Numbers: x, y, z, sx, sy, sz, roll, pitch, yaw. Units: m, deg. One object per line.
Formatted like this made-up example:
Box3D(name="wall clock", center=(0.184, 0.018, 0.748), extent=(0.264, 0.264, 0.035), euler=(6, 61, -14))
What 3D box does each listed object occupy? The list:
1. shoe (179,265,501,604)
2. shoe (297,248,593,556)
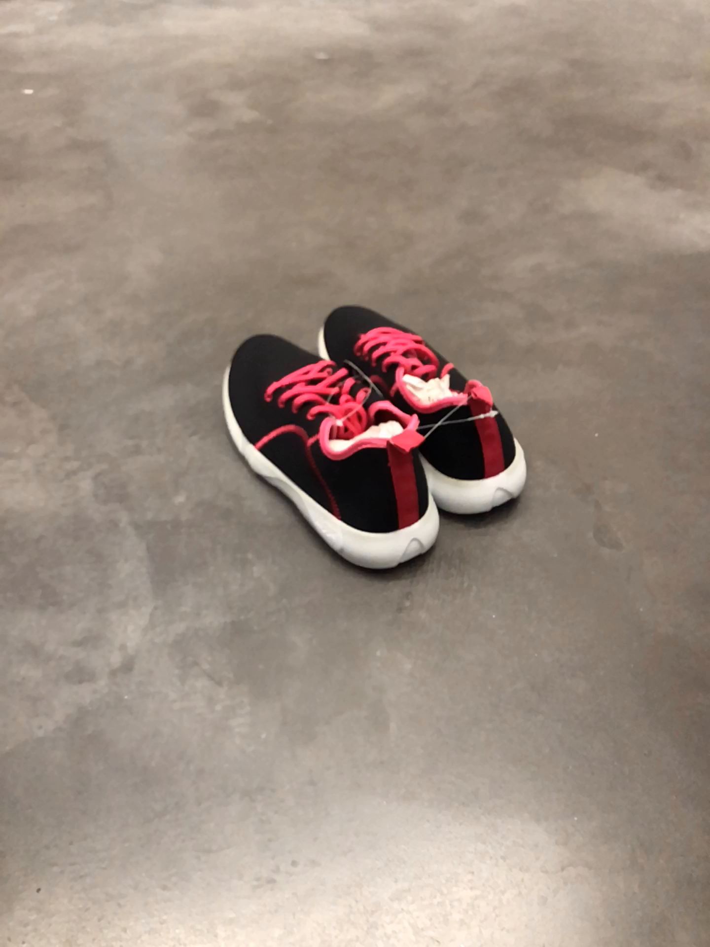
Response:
Box3D(name="shoe", center=(-0.019, -0.039, 0.535), extent=(0.100, 0.090, 0.230), euler=(-25, 49, -23))
Box3D(name="shoe", center=(0.053, -0.065, 0.583), extent=(0.100, 0.090, 0.231), euler=(-20, 47, -19))
